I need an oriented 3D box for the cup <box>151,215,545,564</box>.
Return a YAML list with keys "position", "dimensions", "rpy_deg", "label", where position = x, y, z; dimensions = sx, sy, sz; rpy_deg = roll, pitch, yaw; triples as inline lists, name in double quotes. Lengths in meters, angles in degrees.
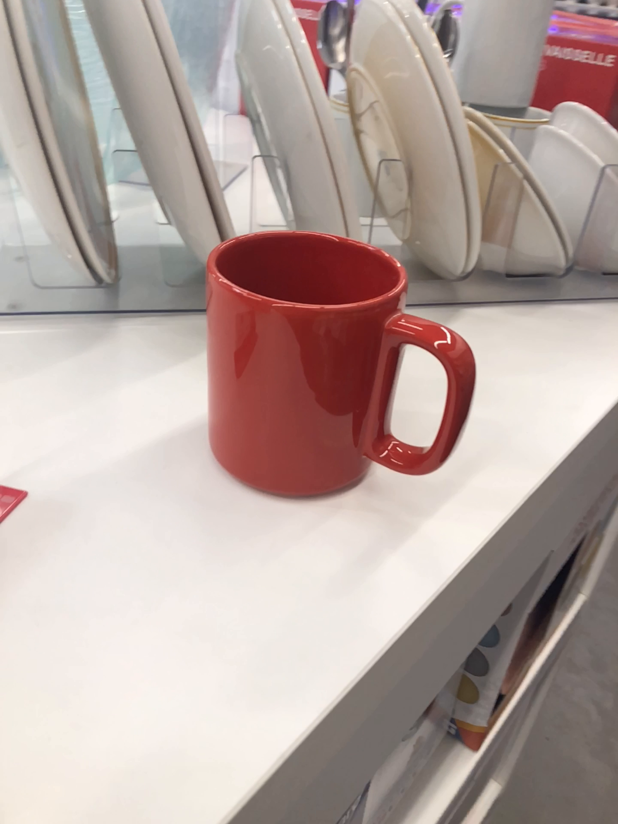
- position: [0.014, -0.019, 0.292]
  dimensions: [0.129, 0.082, 0.092]
  rpy_deg: [22, 36, 24]
  label: "cup"
